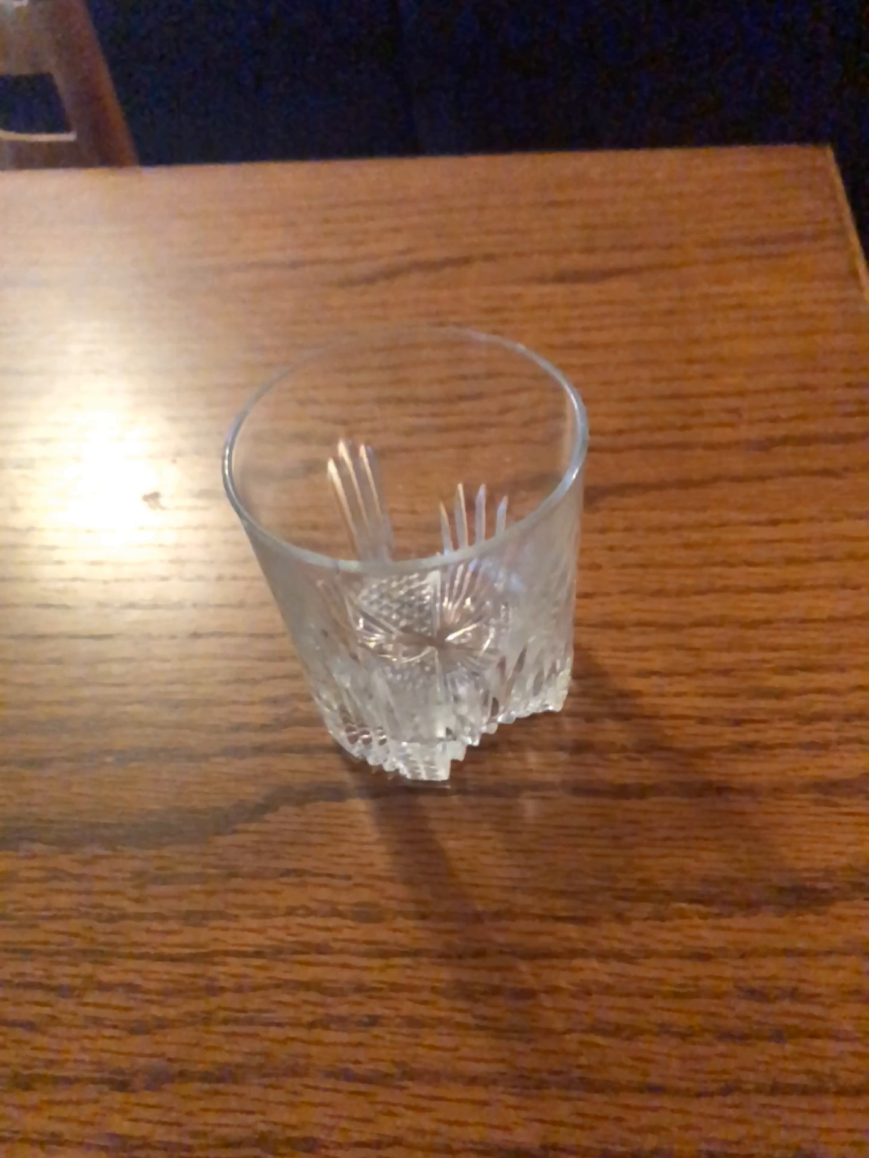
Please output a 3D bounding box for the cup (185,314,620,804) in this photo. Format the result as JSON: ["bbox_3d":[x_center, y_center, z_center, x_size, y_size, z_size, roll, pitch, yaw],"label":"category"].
[{"bbox_3d":[-0.004,-0.003,0.245,0.084,0.084,0.080,-4,48,4],"label":"cup"}]
